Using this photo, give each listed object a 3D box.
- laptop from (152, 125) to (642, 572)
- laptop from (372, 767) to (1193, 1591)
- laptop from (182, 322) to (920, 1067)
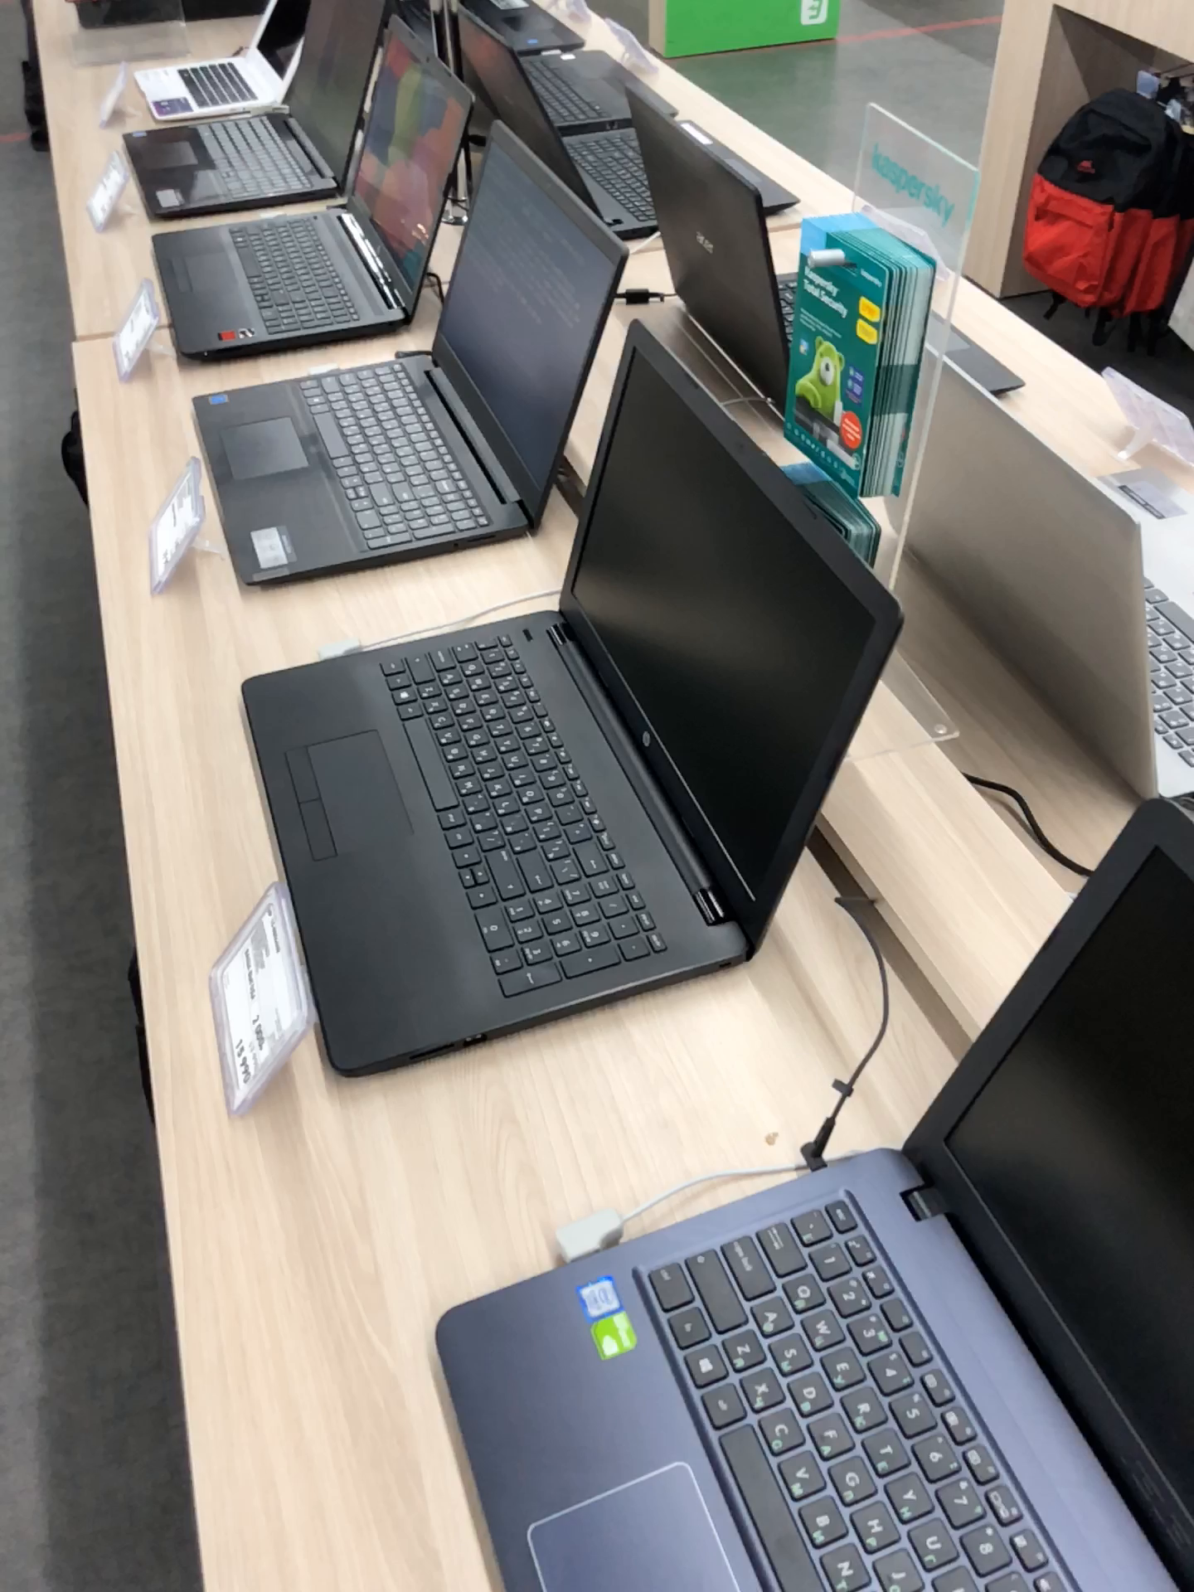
[{"bbox_3d":[-0.178,-0.406,1.148,0.327,0.213,0.333,-15,44,-12],"label":"laptop"},{"bbox_3d":[0.142,0.233,0.429,0.333,0.209,0.371,-17,45,-13],"label":"laptop"},{"bbox_3d":[-0.050,-0.088,0.794,0.311,0.216,0.368,-15,43,-13],"label":"laptop"}]
